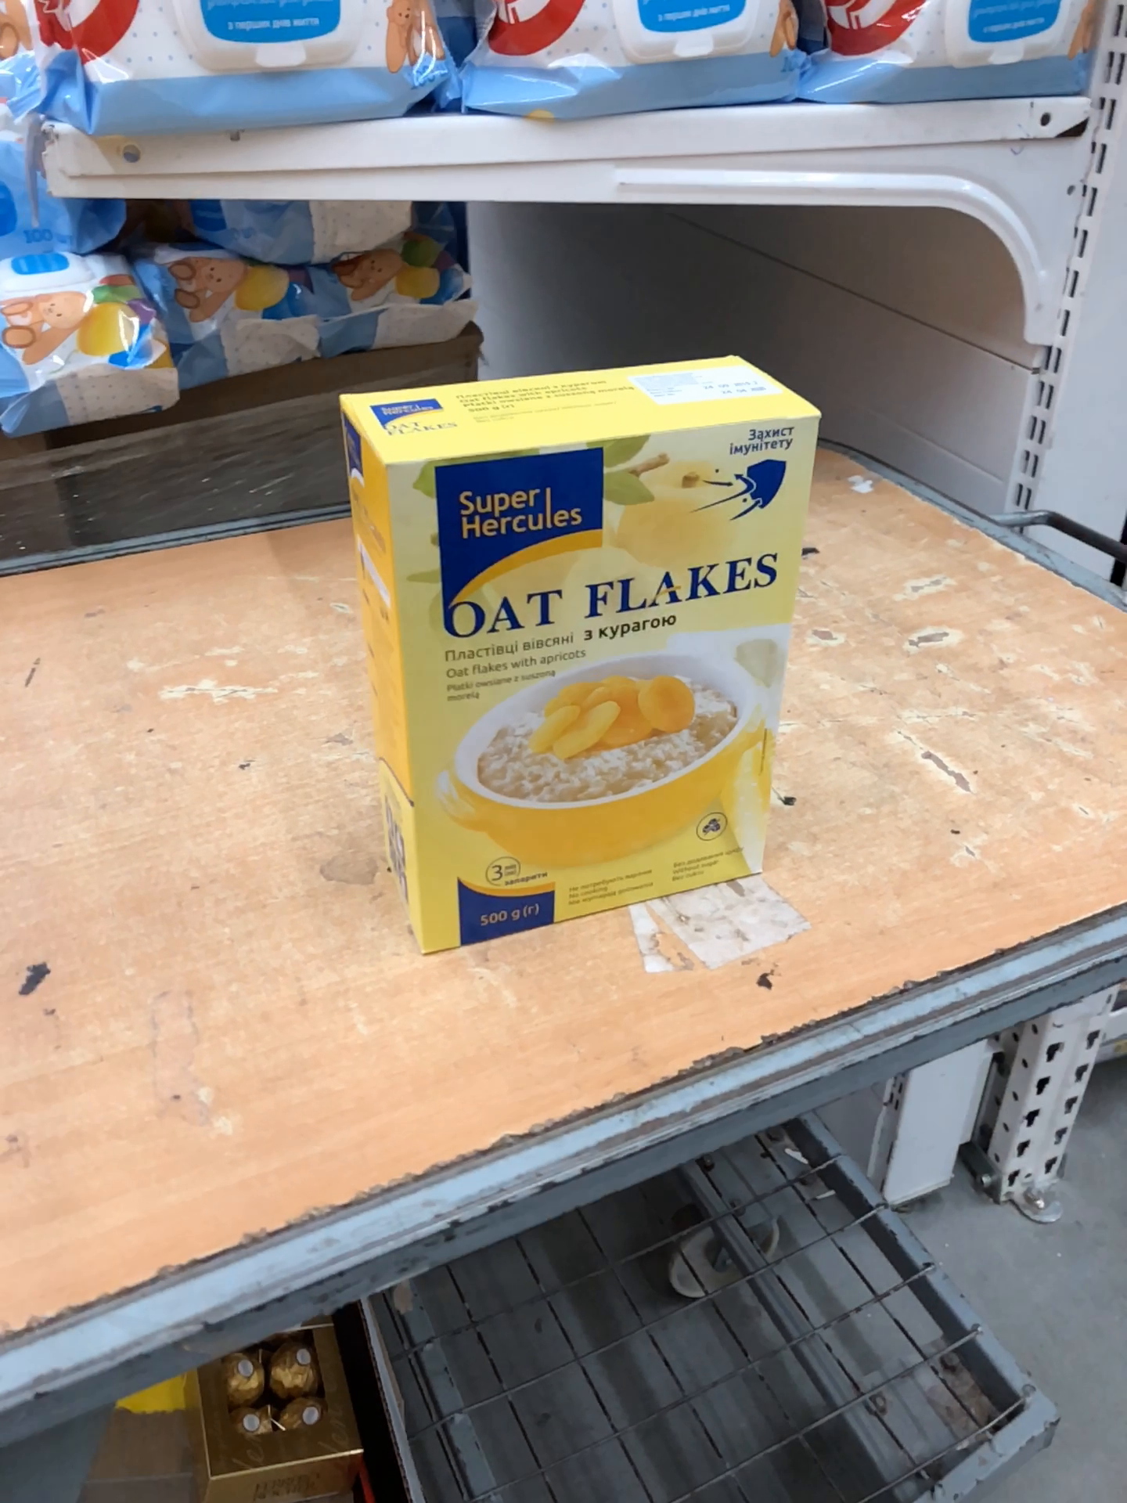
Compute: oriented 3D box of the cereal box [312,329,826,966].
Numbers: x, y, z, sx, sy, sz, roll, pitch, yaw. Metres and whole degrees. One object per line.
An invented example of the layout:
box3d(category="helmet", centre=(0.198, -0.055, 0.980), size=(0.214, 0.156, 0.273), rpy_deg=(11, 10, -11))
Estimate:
box3d(category="cereal box", centre=(0.000, -0.037, 0.460), size=(0.150, 0.199, 0.081), rpy_deg=(-11, 36, -16))
